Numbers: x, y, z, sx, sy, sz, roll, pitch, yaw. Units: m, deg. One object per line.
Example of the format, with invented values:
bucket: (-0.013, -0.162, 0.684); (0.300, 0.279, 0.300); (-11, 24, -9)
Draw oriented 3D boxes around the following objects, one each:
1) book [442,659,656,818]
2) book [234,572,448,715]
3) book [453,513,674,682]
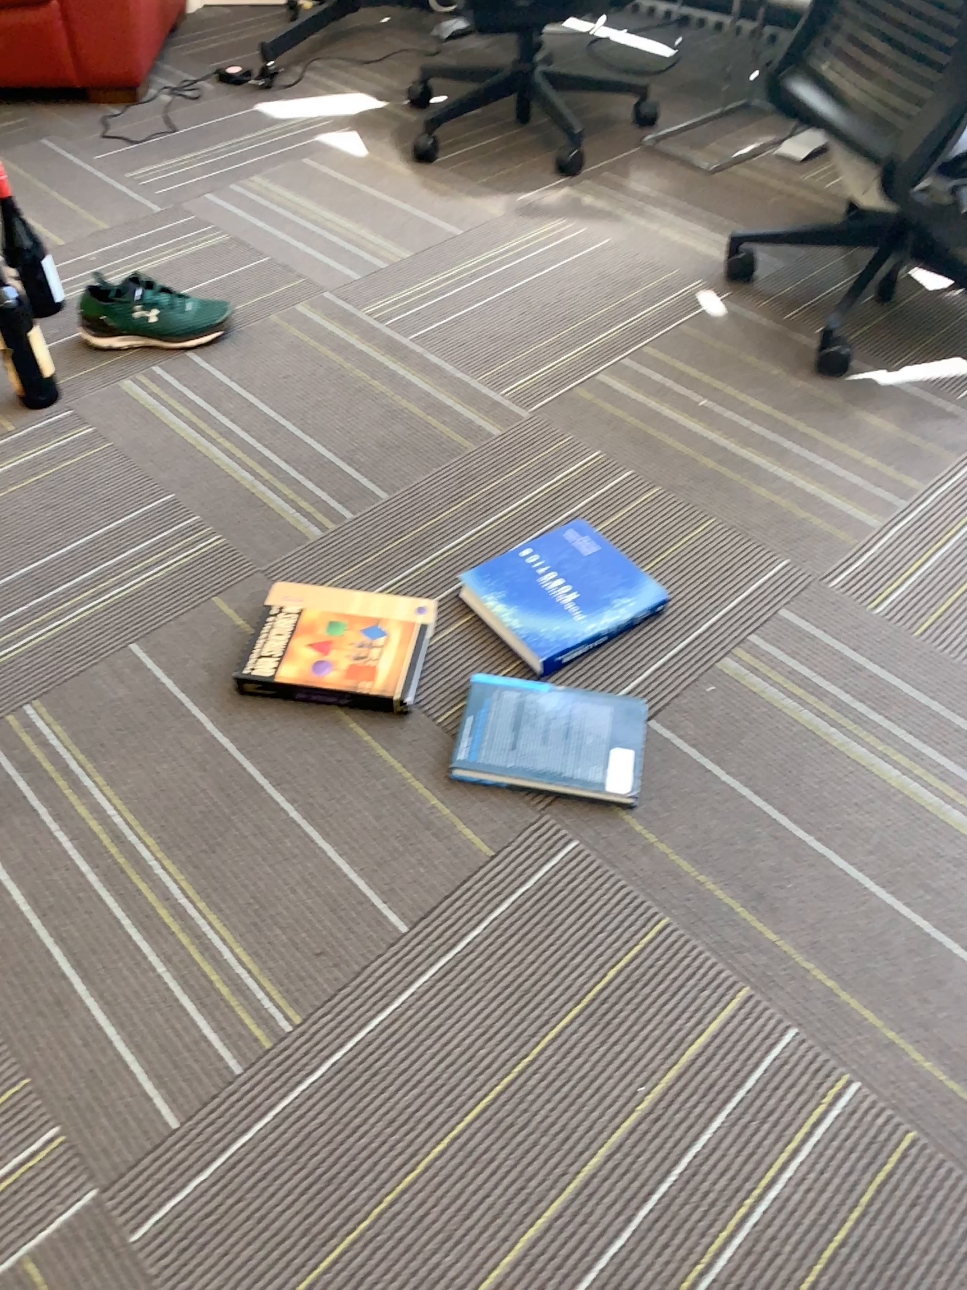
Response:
book: (0.087, 0.115, 1.256); (0.247, 0.040, 0.171); (10, 48, 5)
book: (-0.189, -0.007, 1.352); (0.247, 0.040, 0.192); (7, 48, 7)
book: (0.114, -0.077, 1.437); (0.245, 0.040, 0.206); (-27, 53, -23)
